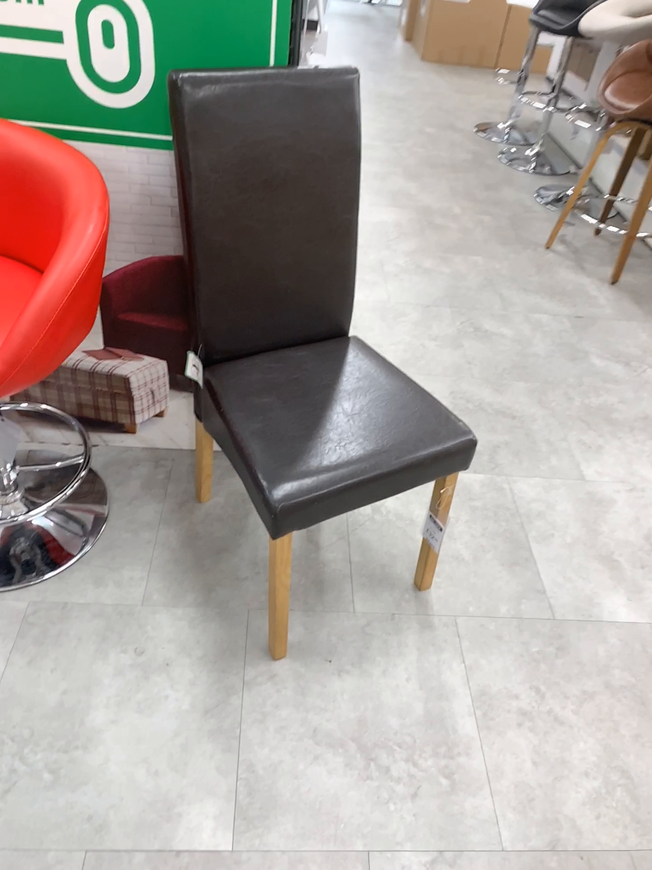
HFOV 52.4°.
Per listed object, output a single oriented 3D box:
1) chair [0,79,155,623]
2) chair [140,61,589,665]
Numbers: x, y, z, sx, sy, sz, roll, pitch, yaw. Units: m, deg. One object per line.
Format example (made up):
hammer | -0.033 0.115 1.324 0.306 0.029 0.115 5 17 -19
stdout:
chair | -0.626 -0.128 1.191 0.426 0.773 0.460 13 40 6
chair | -0.019 -0.125 1.258 0.426 0.912 0.560 -17 46 -26
